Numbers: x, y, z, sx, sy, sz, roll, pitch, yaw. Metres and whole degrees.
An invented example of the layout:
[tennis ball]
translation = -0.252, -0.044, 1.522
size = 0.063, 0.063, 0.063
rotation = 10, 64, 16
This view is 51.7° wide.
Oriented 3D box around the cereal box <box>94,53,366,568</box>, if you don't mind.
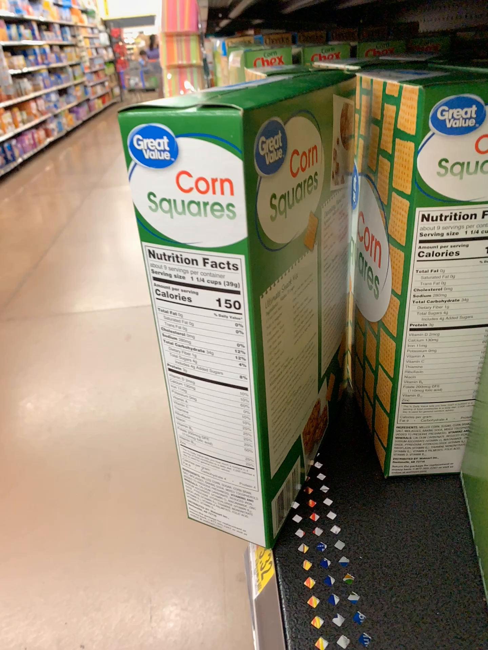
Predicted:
[cereal box]
translation = 0.020, -0.018, 0.353
size = 0.070, 0.288, 0.201
rotation = 10, 33, 24
